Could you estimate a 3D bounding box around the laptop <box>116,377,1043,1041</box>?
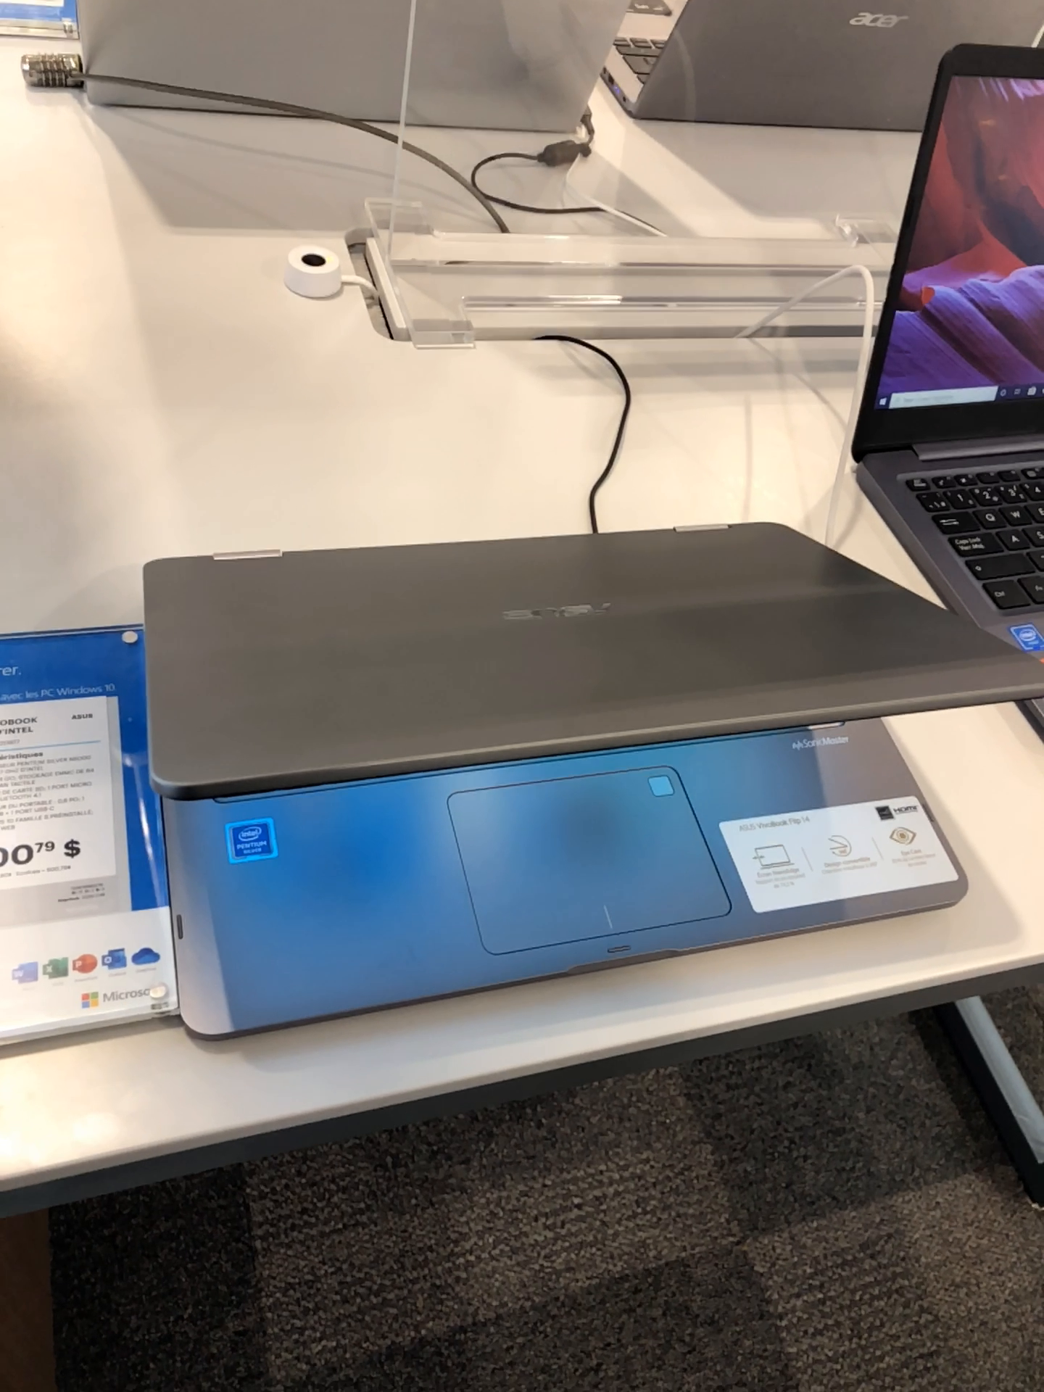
[{"bbox_3d":[0.017,-0.015,0.459,0.322,0.105,0.215,-6,53,-16],"label":"laptop"}]
